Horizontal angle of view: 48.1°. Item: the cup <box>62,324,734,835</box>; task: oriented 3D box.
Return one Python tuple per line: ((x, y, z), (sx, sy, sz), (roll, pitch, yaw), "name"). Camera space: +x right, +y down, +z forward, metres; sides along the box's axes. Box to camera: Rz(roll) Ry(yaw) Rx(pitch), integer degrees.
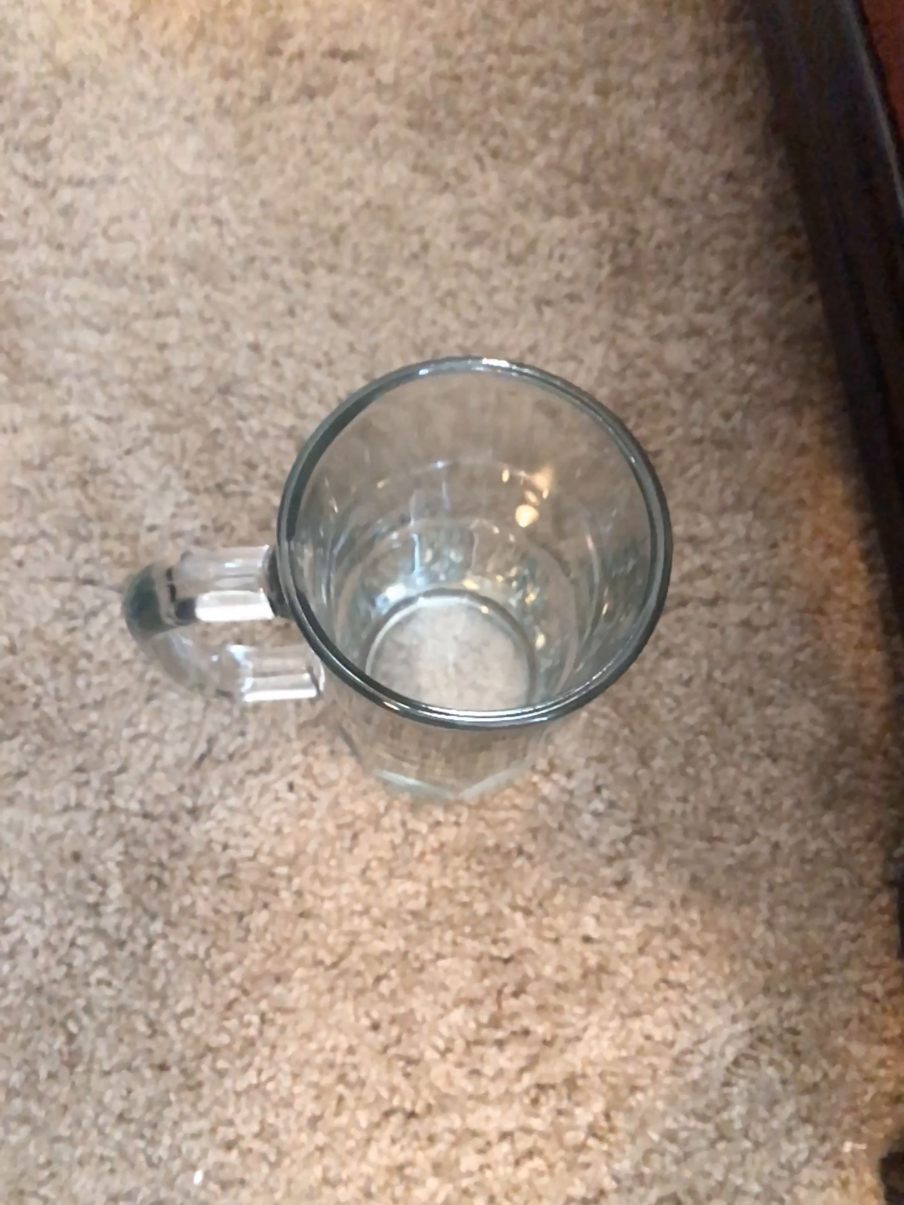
((-0.019, 0.008, 0.288), (0.133, 0.156, 0.096), (-4, 75, -6), "cup")
